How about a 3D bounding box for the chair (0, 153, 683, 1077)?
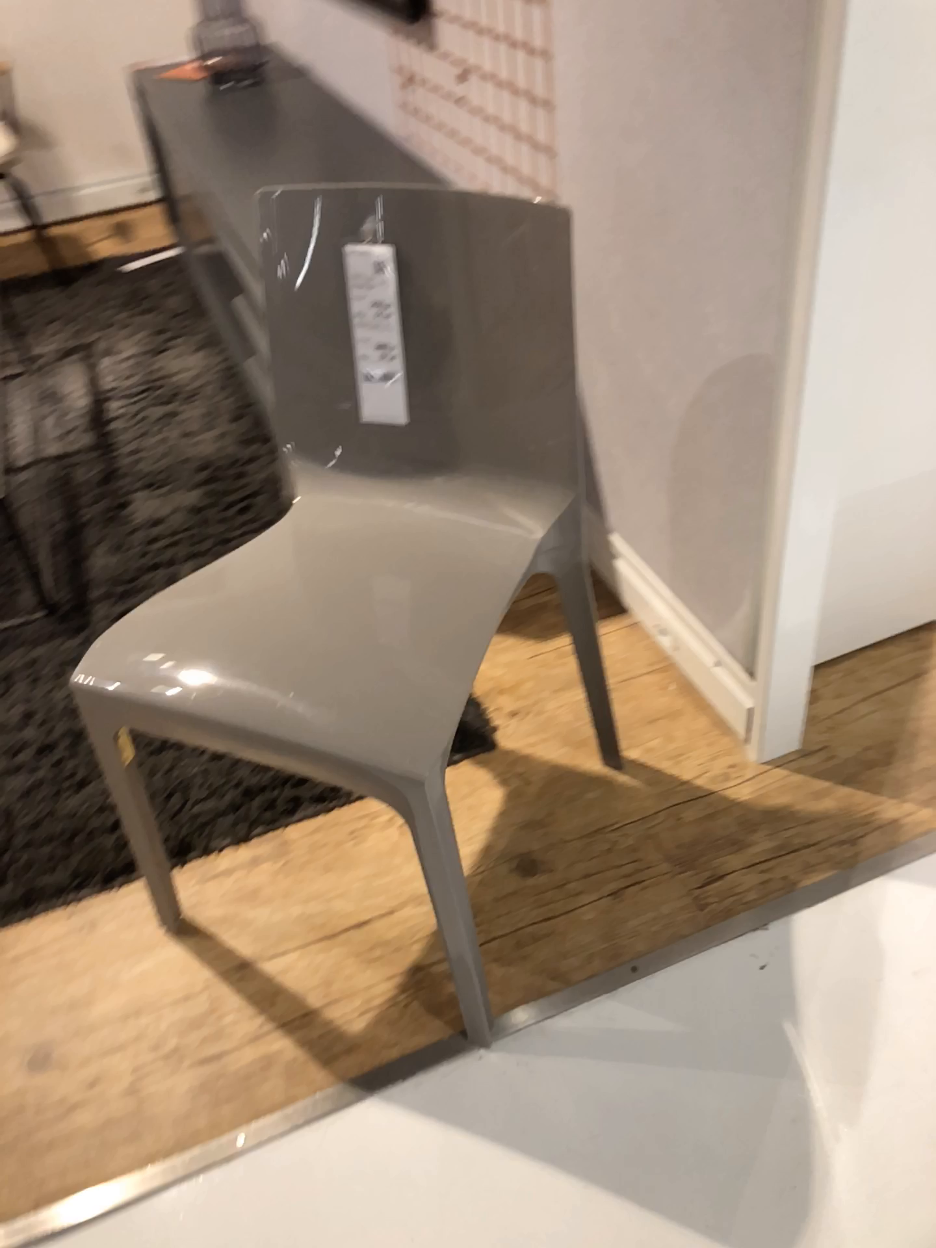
[{"bbox_3d":[-0.112,-0.031,1.153,0.521,0.754,0.563,14,45,24],"label":"chair"}]
